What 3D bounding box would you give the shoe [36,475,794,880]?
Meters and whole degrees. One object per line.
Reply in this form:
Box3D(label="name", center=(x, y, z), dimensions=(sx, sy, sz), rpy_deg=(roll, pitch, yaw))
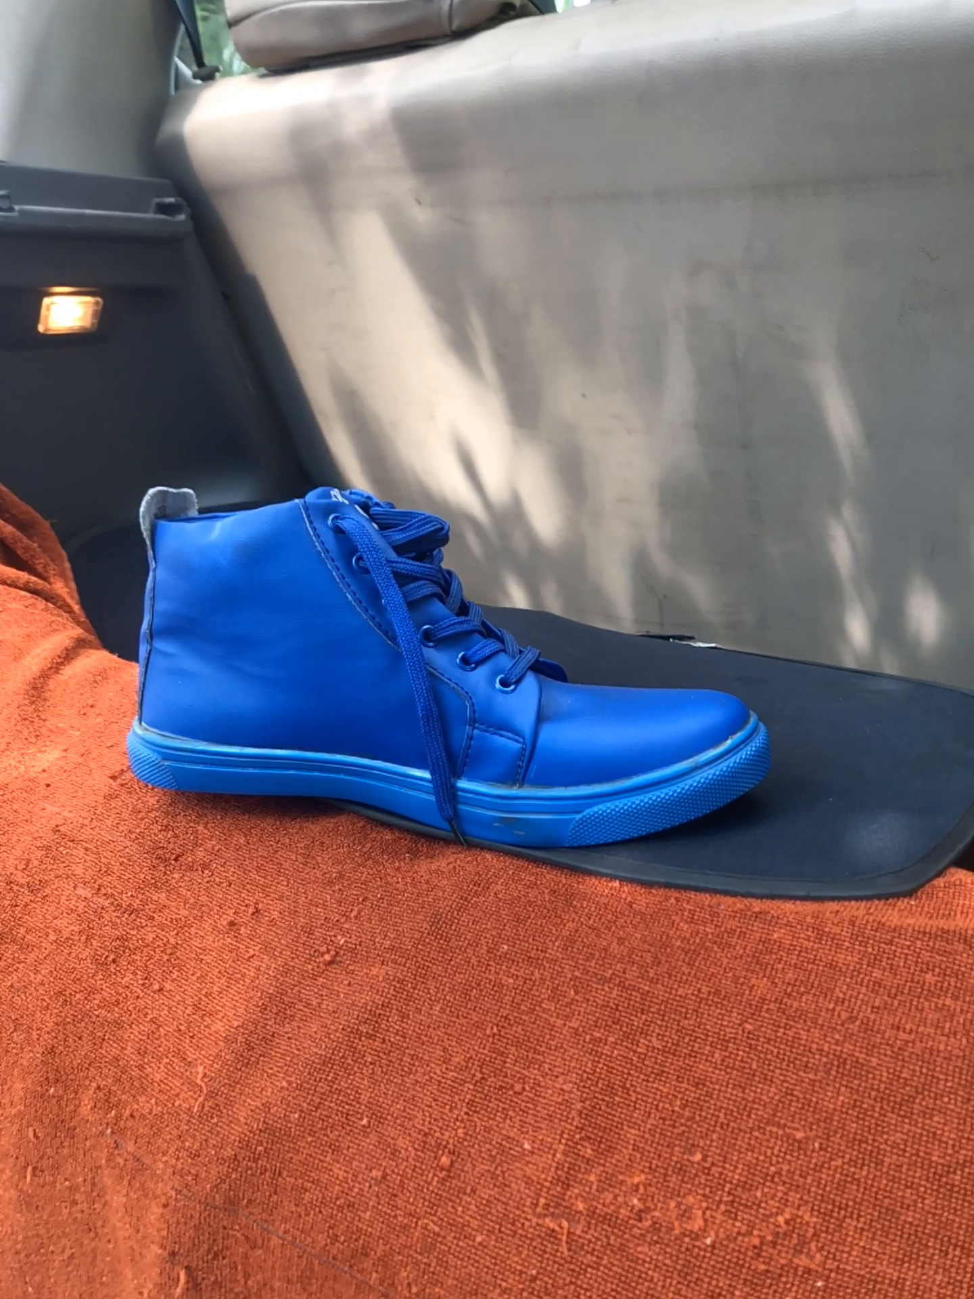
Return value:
Box3D(label="shoe", center=(-0.024, -0.003, 0.483), dimensions=(0.300, 0.120, 0.131), rpy_deg=(4, 20, 17))
